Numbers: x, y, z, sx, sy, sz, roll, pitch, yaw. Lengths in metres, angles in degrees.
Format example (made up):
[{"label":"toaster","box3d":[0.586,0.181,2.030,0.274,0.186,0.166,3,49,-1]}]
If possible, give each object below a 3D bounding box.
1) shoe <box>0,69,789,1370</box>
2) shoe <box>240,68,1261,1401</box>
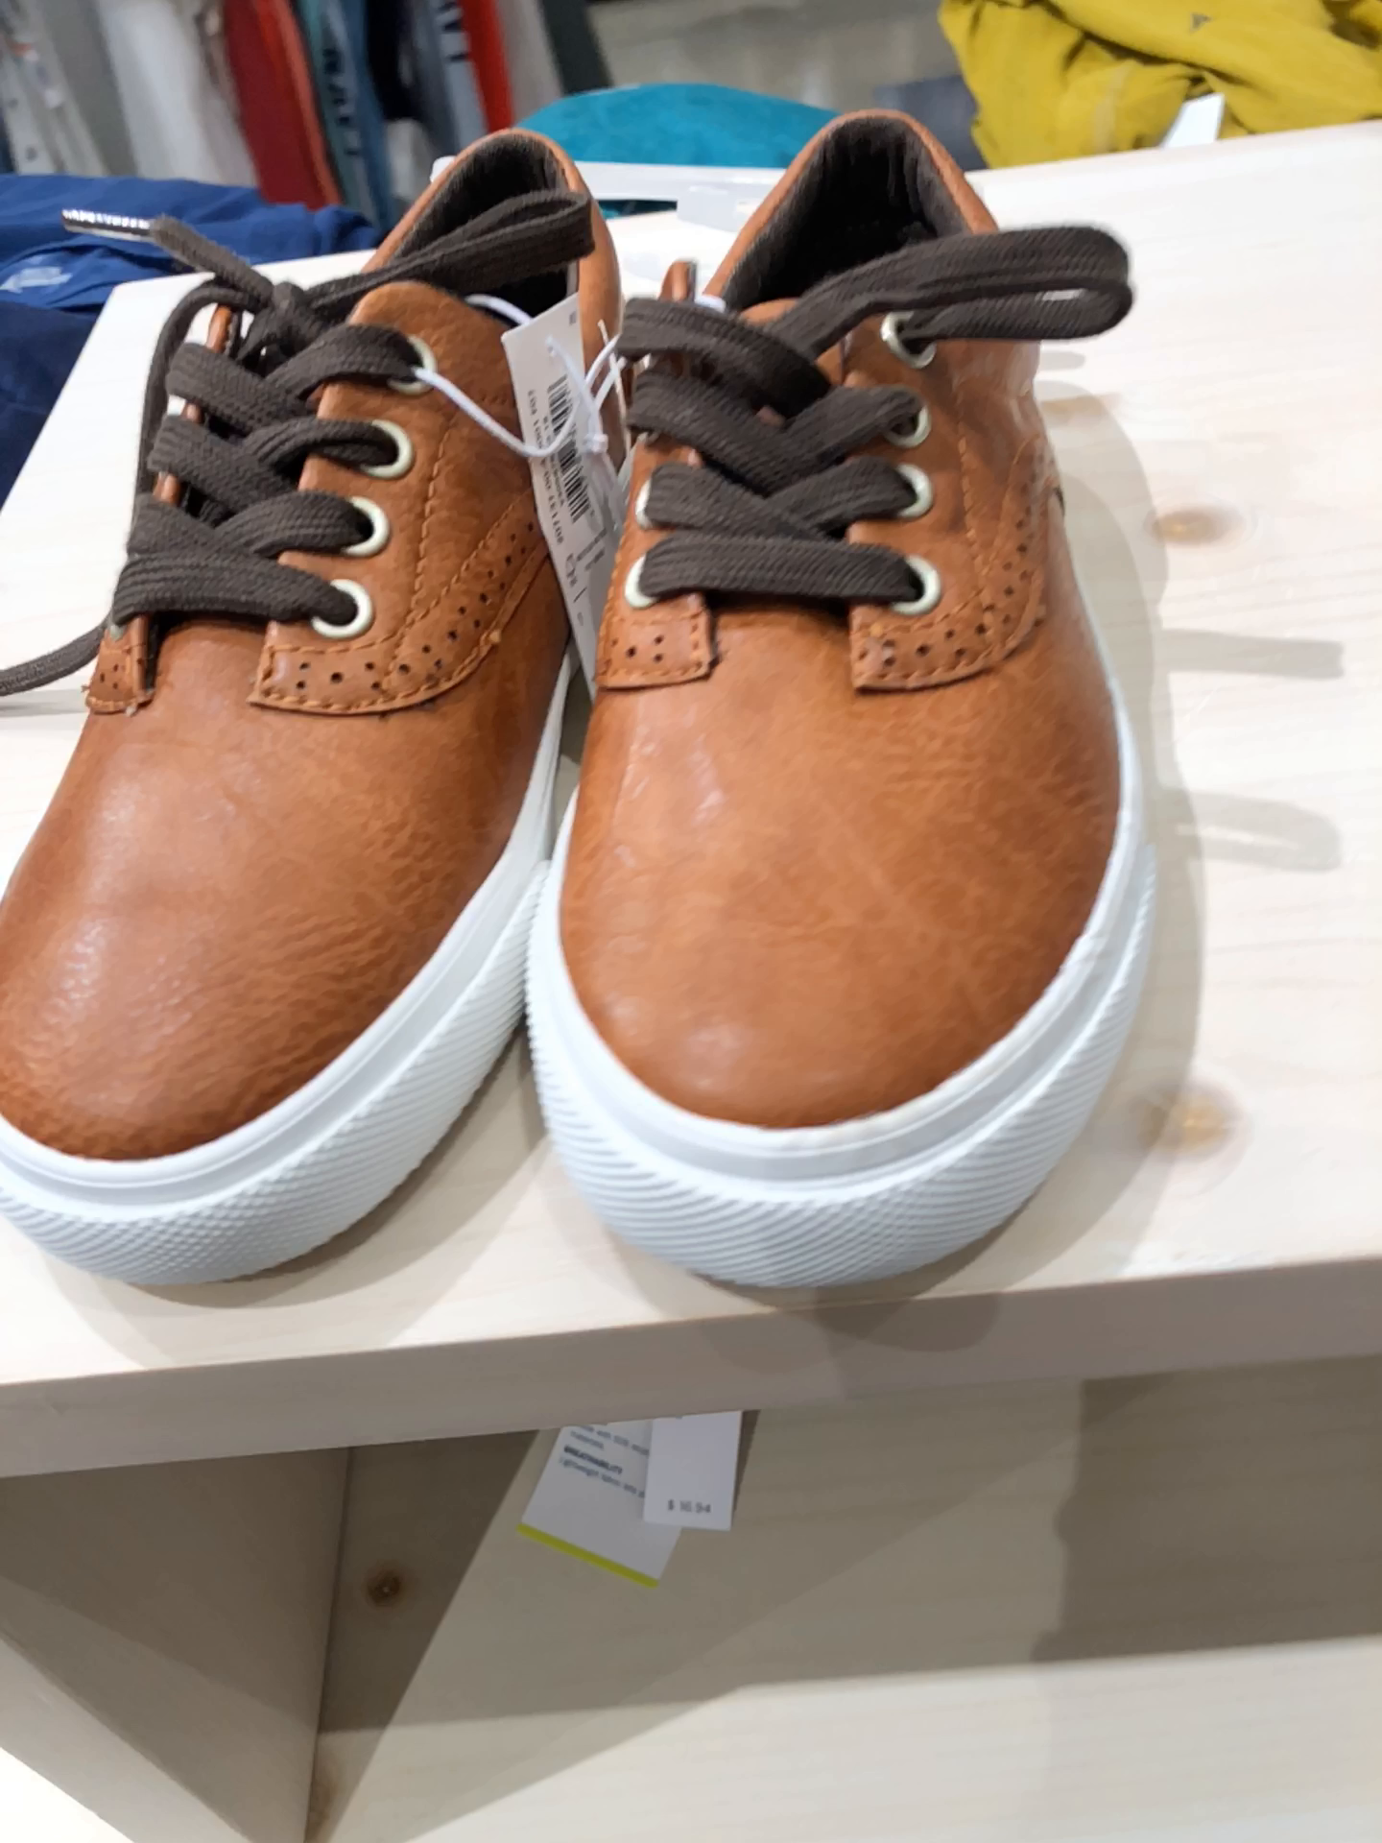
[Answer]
[{"label":"shoe","box3d":[-0.051,-0.054,0.257,0.090,0.090,0.221,5,46,14]},{"label":"shoe","box3d":[0.024,-0.048,0.234,0.090,0.080,0.211,2,46,11]}]
